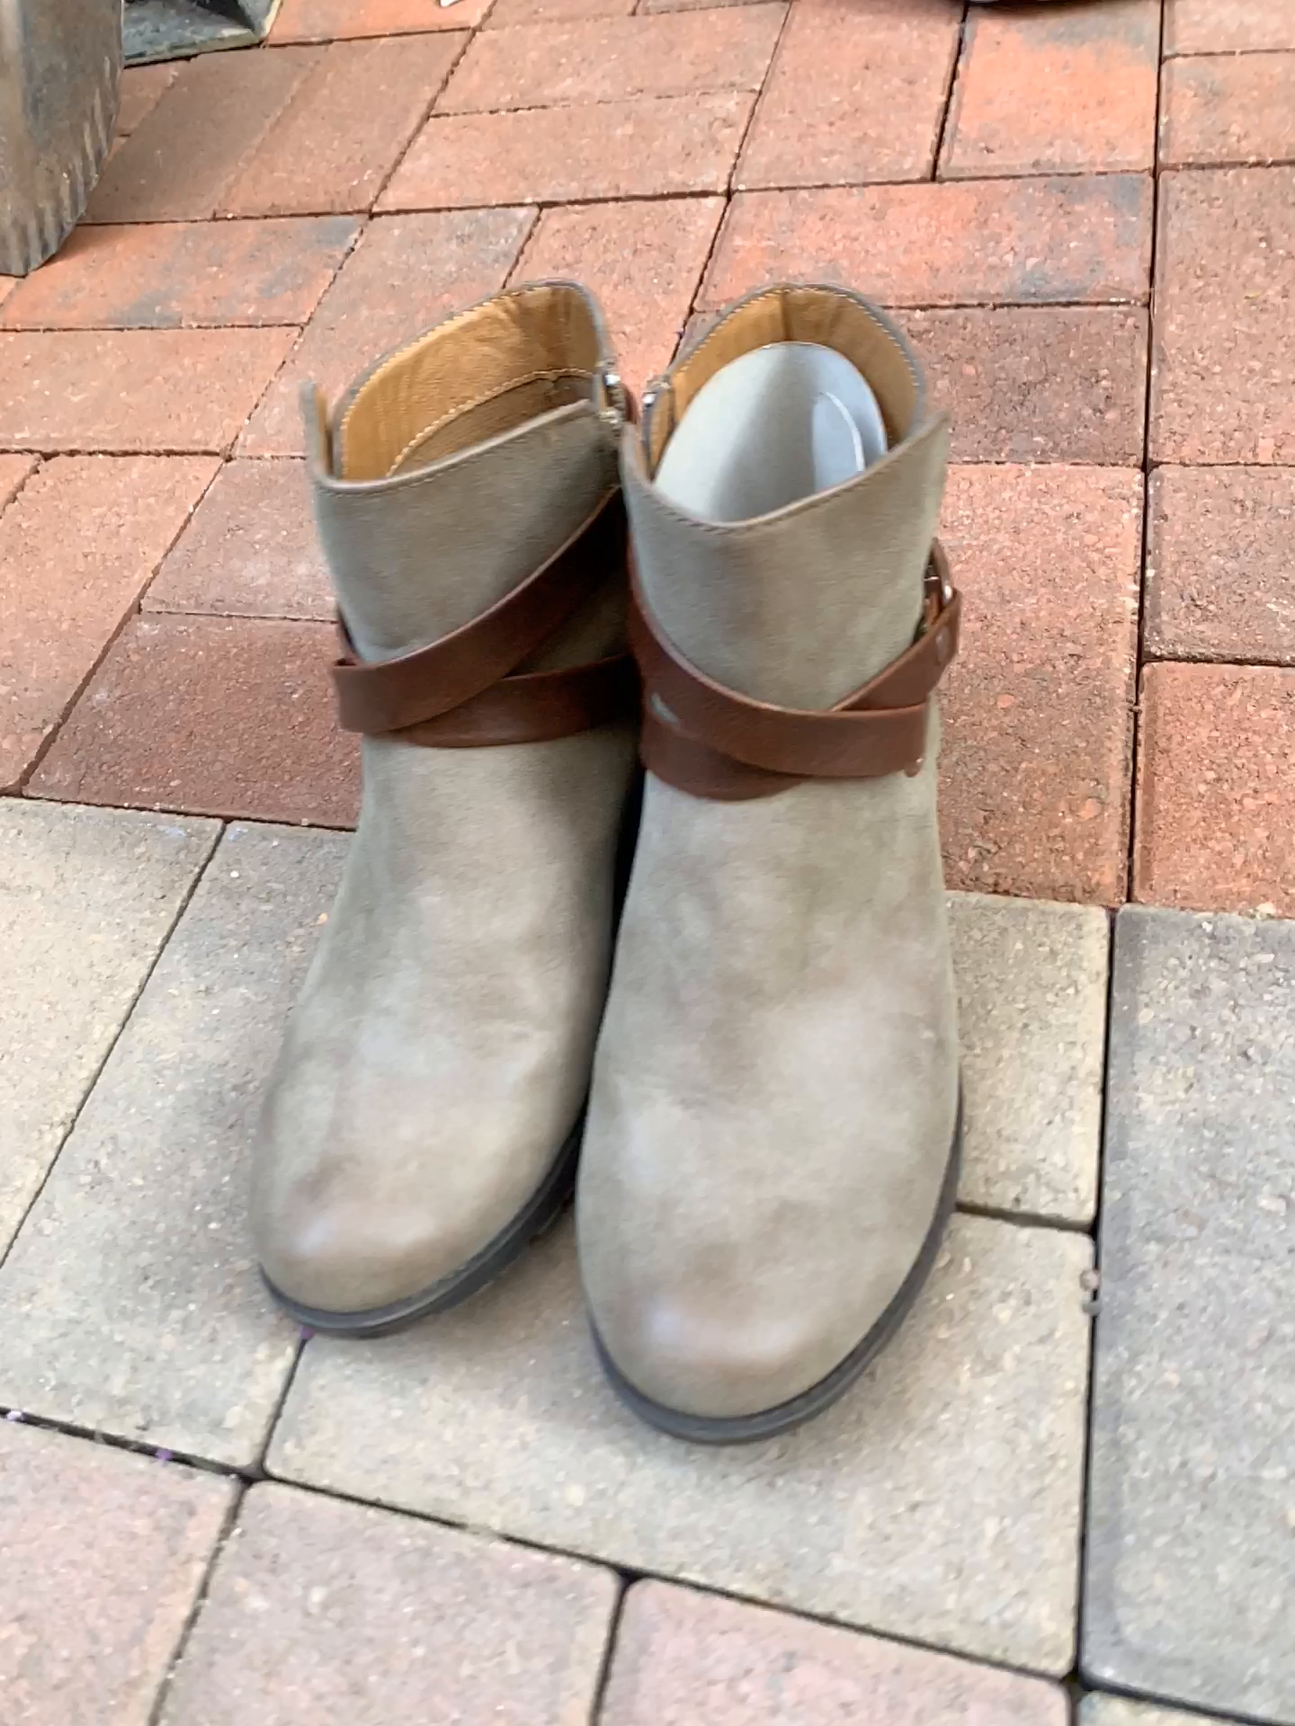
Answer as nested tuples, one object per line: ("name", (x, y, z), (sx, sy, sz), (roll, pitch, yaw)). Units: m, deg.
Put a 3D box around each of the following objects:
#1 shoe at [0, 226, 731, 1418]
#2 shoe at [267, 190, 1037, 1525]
("shoe", (-0.061, -0.013, 0.337), (0.095, 0.165, 0.240), (5, 56, 17))
("shoe", (0.033, -0.005, 0.312), (0.095, 0.165, 0.252), (4, 56, 16))
